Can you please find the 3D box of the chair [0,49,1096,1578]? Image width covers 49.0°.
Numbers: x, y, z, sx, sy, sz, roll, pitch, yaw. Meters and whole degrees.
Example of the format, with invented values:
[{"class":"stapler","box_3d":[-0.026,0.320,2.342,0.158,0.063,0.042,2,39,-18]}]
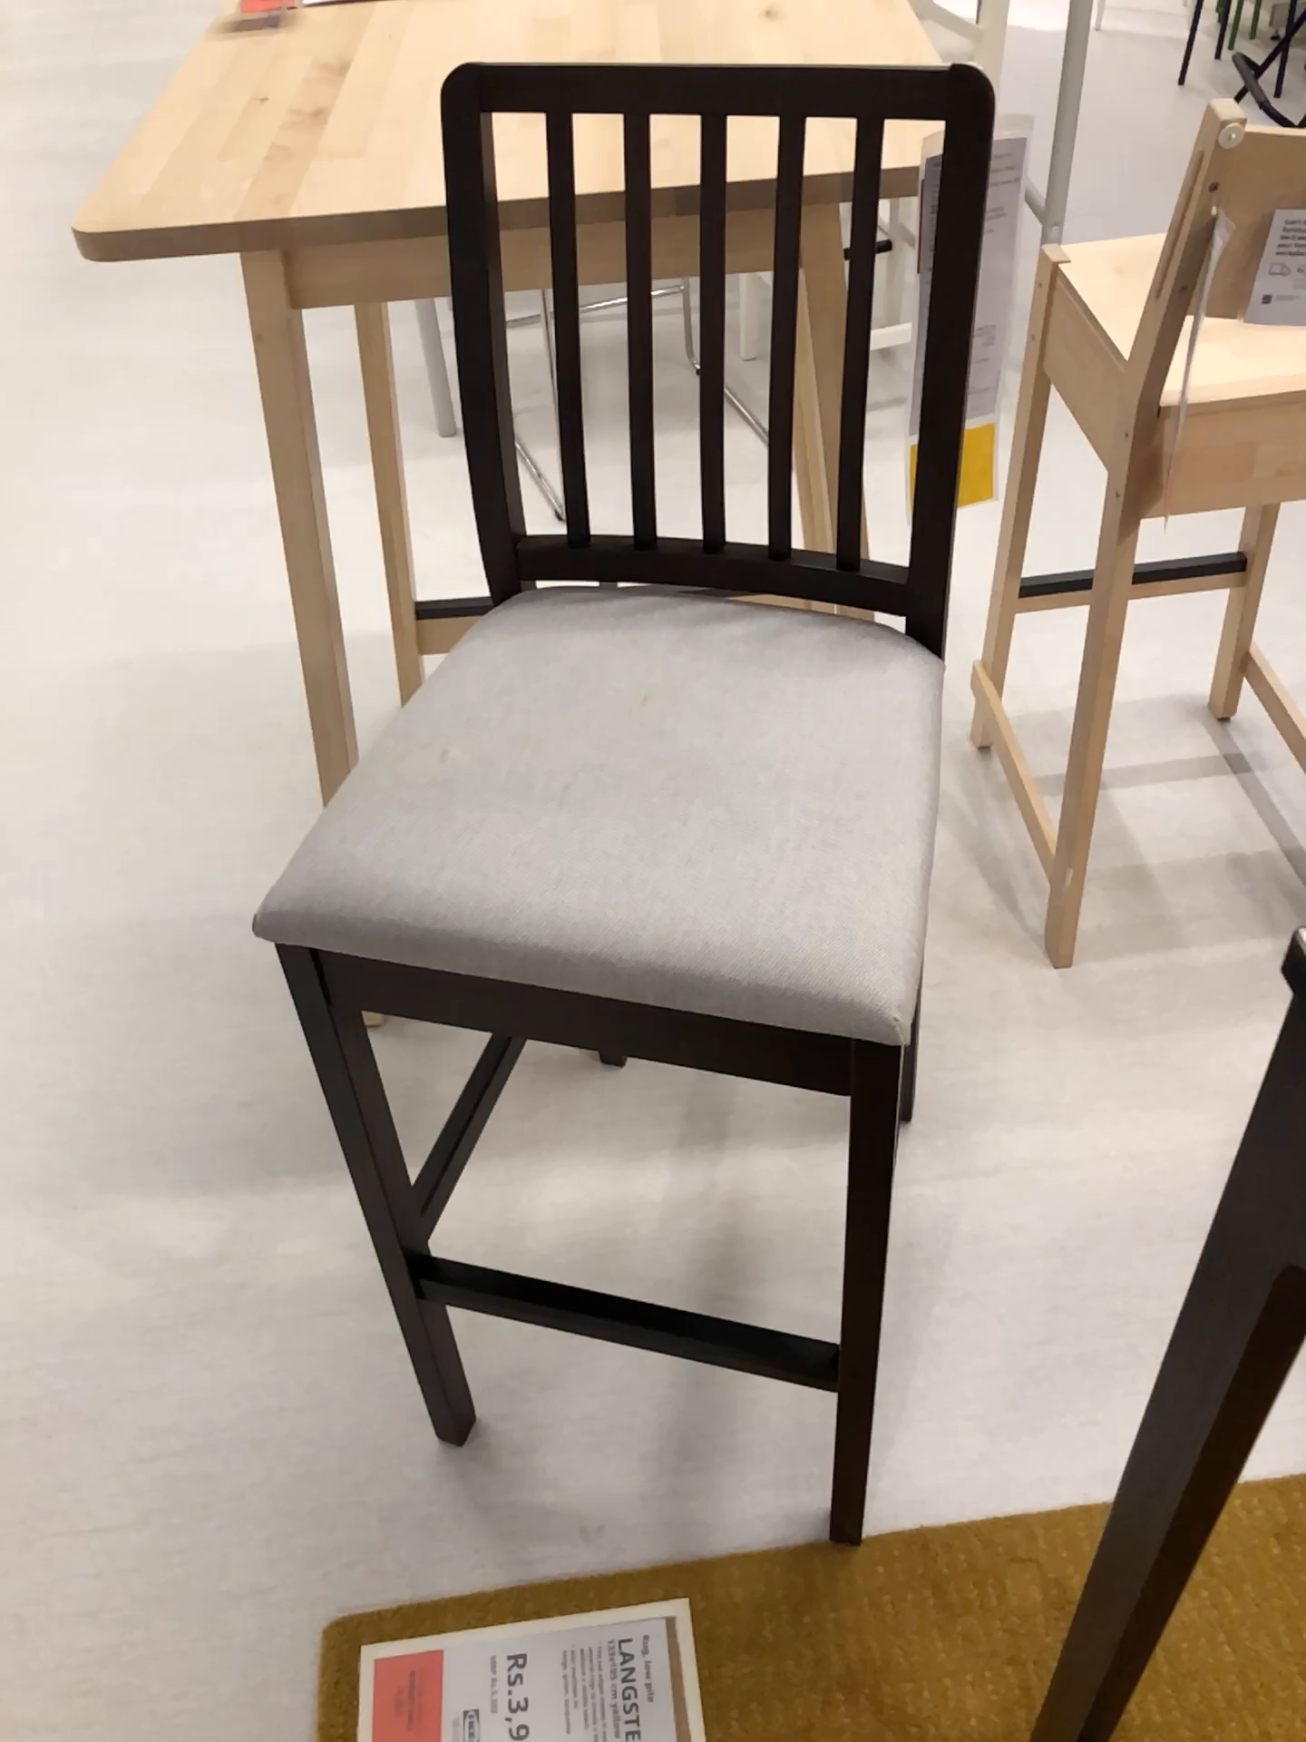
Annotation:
[{"class":"chair","box_3d":[0.020,0.024,1.167,0.480,1.093,0.563,8,46,14]}]
